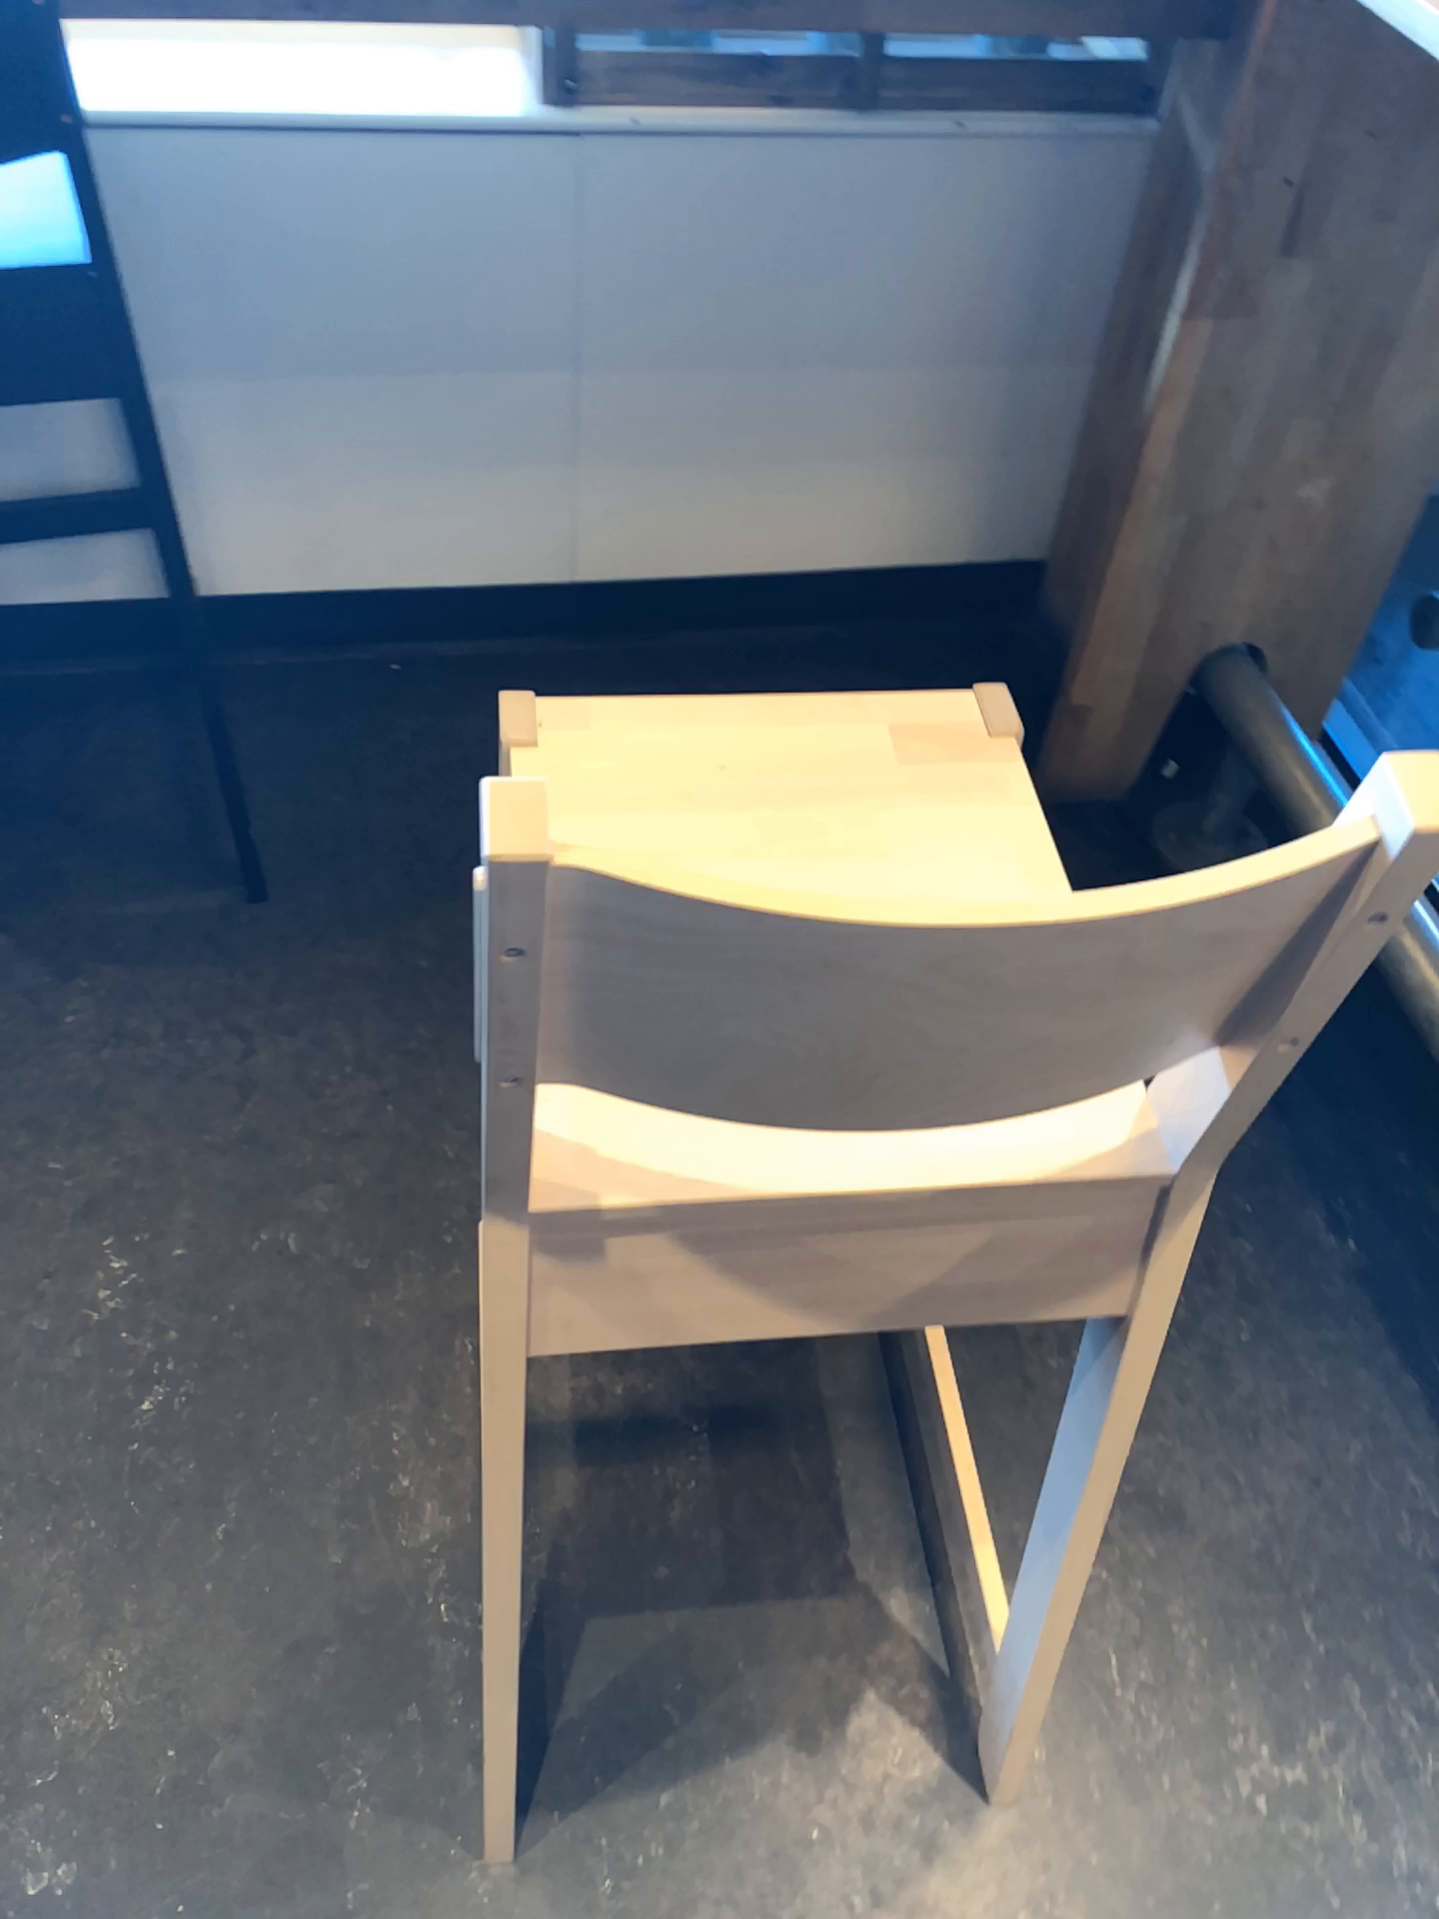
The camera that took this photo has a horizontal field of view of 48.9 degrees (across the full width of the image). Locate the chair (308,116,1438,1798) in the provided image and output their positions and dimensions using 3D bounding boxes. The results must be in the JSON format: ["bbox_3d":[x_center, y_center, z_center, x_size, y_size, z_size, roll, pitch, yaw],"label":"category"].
[{"bbox_3d":[0.036,0.080,1.033,0.460,0.976,0.542,-2,47,-8],"label":"chair"}]
